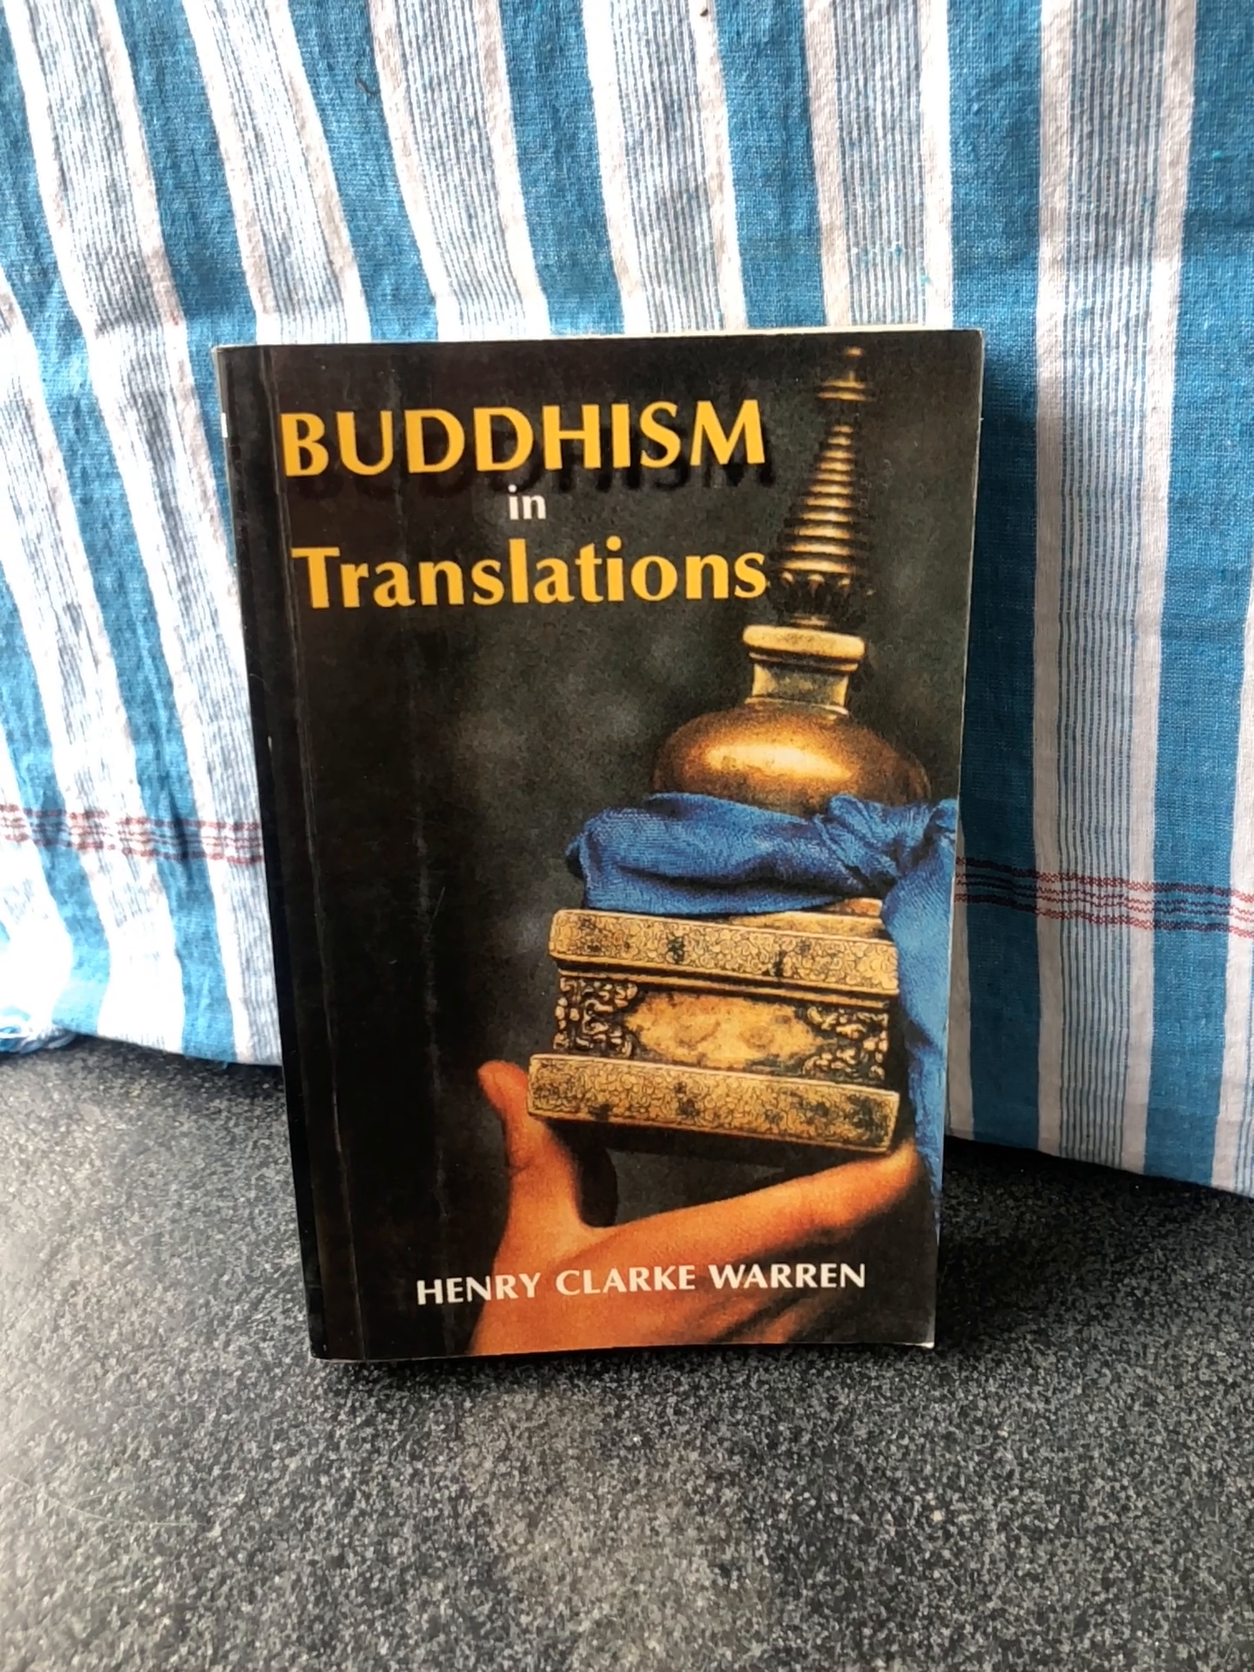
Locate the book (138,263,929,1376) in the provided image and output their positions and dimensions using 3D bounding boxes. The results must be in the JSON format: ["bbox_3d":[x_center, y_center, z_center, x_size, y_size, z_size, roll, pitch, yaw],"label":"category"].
[{"bbox_3d":[-0.014,0.000,0.288,0.140,0.210,0.050,-1,10,1],"label":"book"}]
